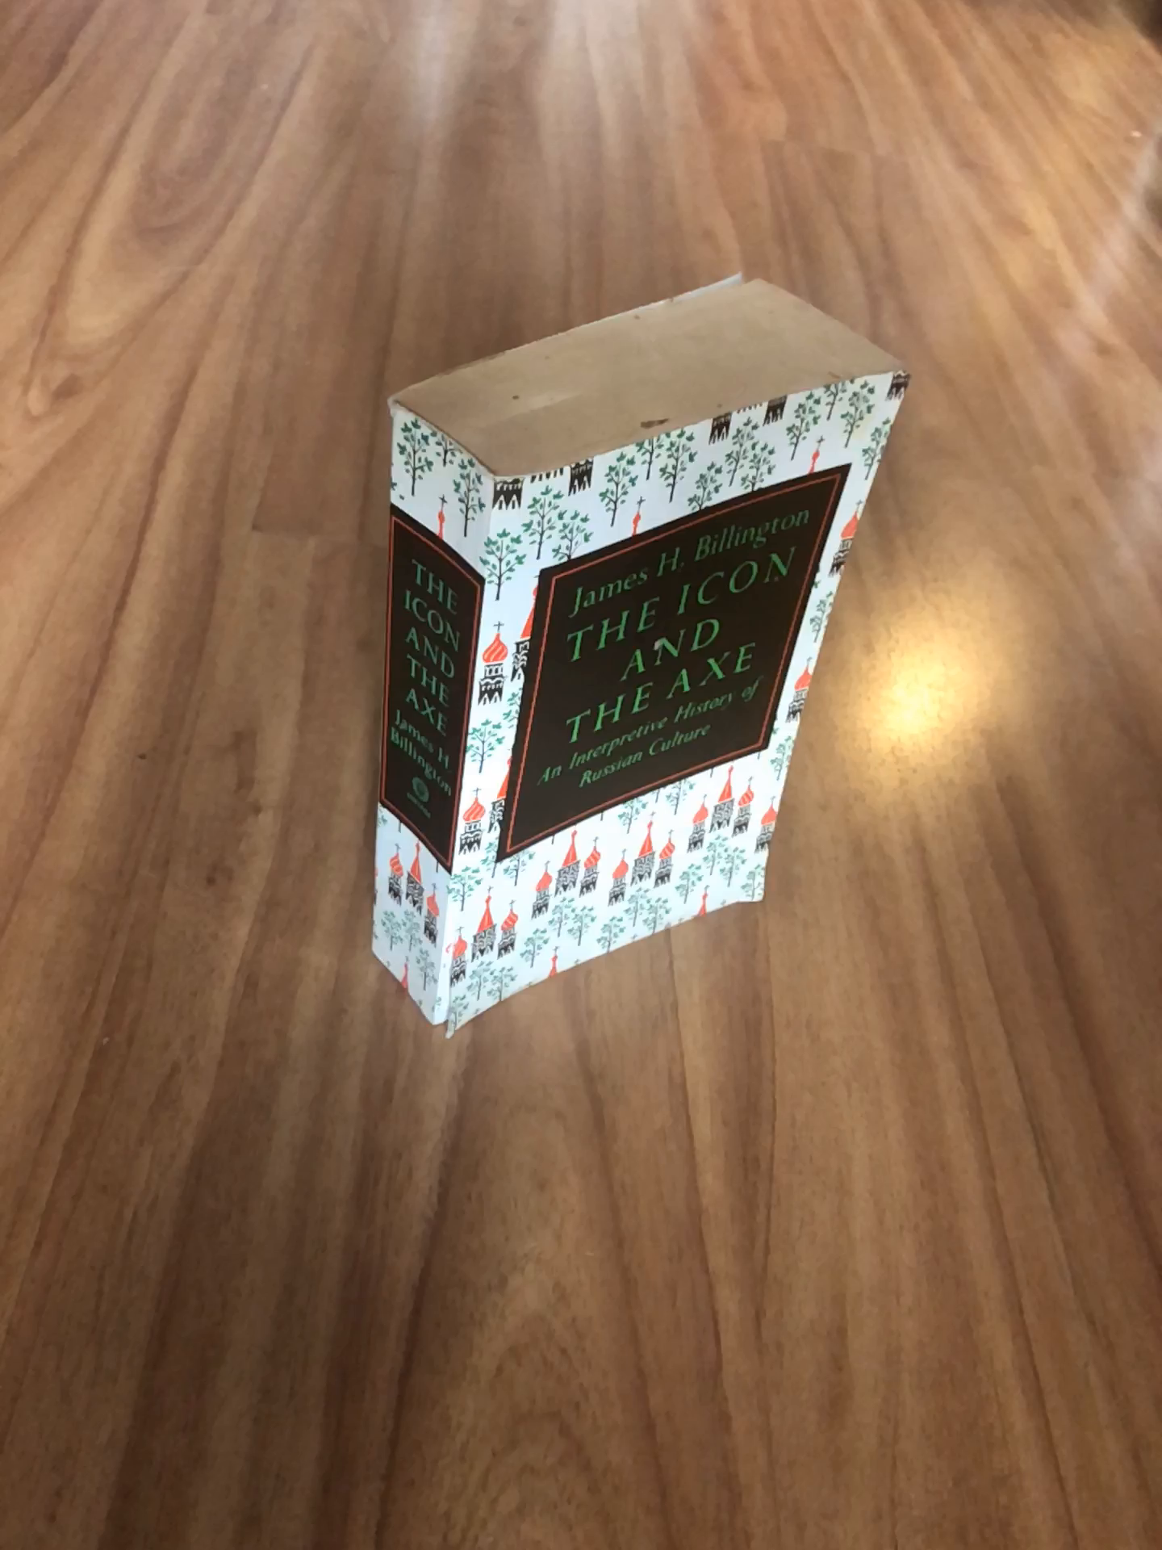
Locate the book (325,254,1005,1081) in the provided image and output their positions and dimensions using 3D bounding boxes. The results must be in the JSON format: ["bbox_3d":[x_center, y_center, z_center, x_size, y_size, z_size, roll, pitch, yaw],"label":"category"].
[{"bbox_3d":[0.012,-0.025,0.359,0.150,0.199,0.060,-21,50,-29],"label":"book"}]
